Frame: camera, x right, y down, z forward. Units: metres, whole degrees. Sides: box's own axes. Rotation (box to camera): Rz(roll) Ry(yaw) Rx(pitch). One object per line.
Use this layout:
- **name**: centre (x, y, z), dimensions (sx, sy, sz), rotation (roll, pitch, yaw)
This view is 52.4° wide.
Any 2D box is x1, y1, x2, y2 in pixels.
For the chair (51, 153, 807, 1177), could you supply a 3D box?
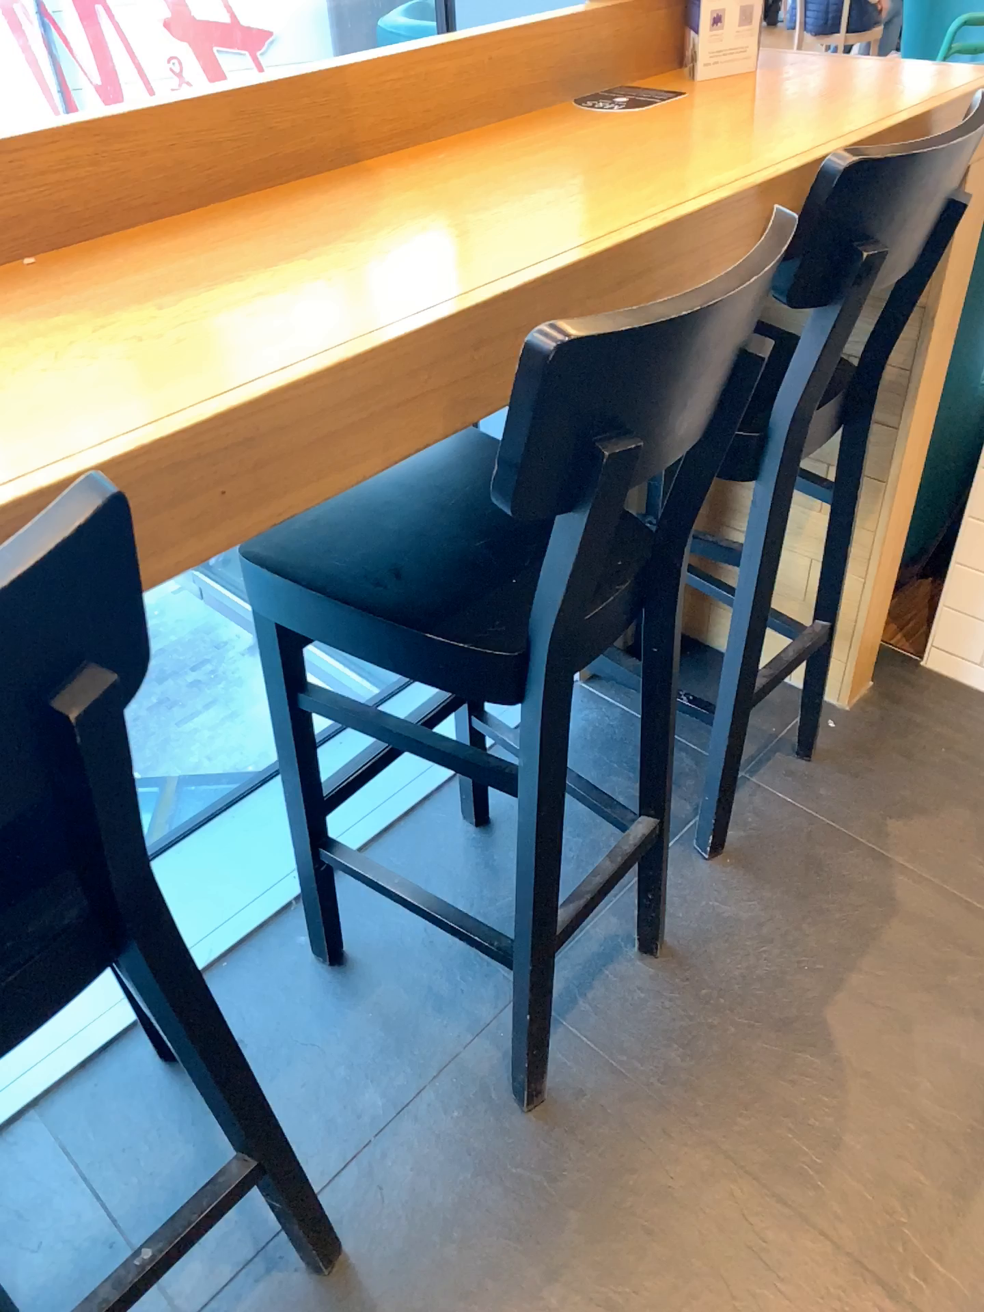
- **chair**: centre (-0.021, 0.037, 1.158), dimensions (0.462, 1.001, 0.455), rotation (24, 46, 31)

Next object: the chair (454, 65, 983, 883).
- **chair**: centre (0.296, -0.241, 1.461), dimensions (0.462, 1.001, 0.425), rotation (26, 47, 33)

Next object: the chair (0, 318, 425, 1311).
- **chair**: centre (-0.406, 0.315, 0.854), dimensions (0.462, 1.001, 0.394), rotation (28, 48, 34)
